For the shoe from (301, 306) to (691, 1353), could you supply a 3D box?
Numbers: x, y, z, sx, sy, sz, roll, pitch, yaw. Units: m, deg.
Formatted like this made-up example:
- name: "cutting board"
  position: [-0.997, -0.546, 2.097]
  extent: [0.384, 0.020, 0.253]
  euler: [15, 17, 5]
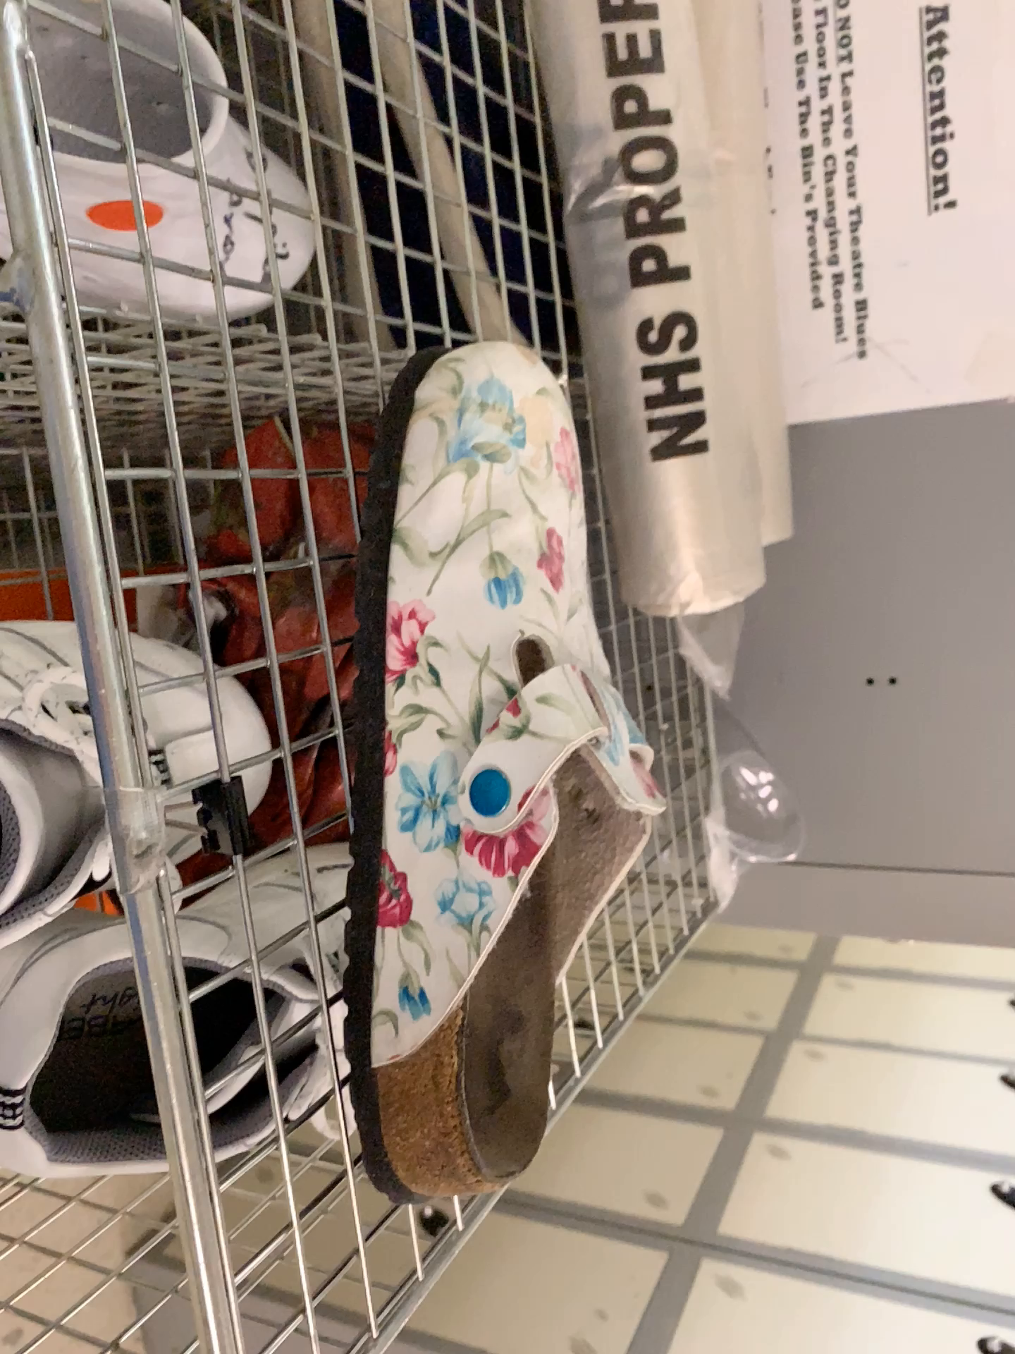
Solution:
- name: "shoe"
  position: [0.004, 0.038, 0.320]
  extent: [0.101, 0.070, 0.259]
  euler: [15, 76, -61]
